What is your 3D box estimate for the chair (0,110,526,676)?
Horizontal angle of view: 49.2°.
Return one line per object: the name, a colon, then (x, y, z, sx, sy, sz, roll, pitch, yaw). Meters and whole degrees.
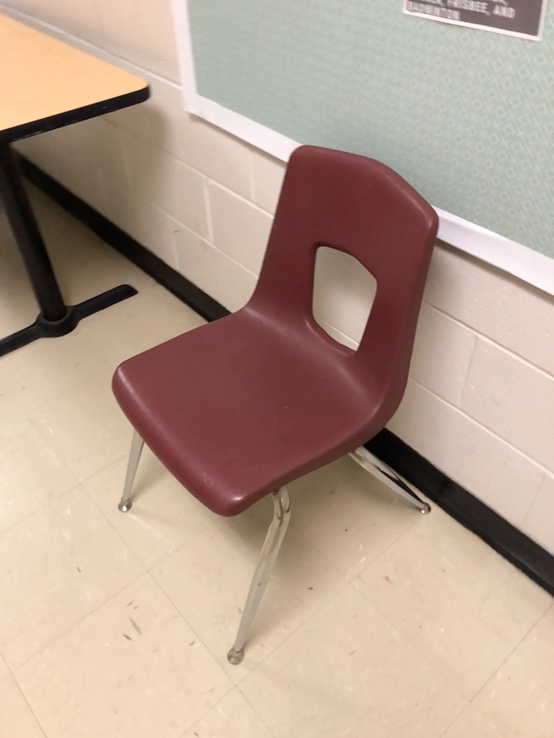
chair: (-0.022, 0.033, 1.099, 0.554, 0.707, 0.506, -30, 51, -26)
